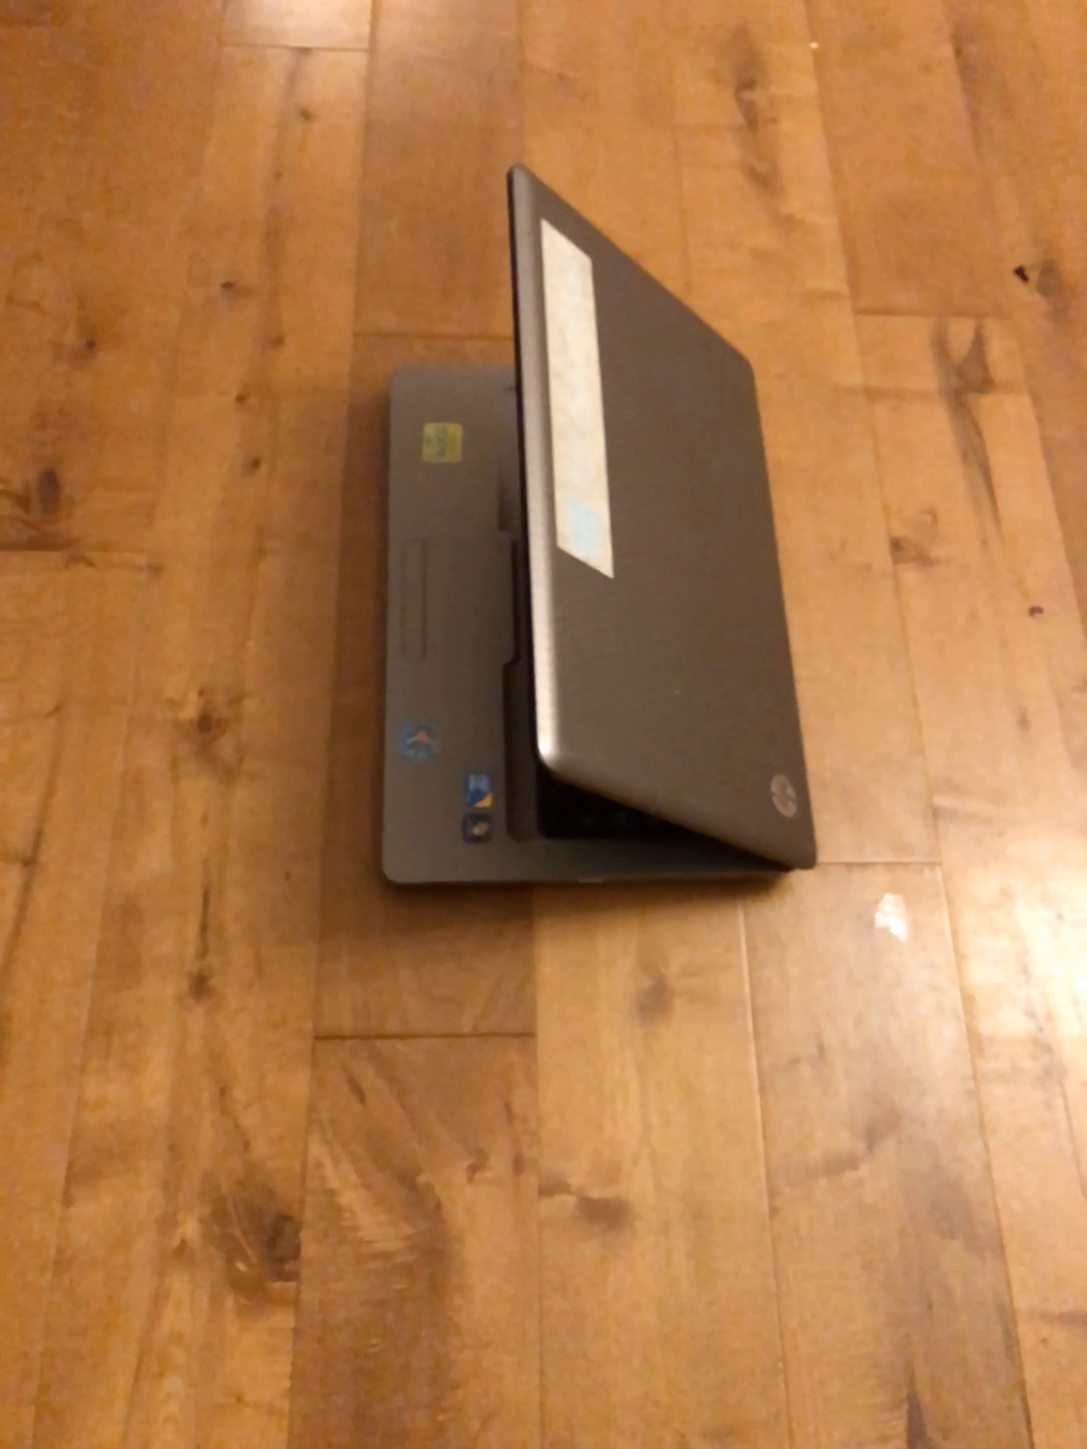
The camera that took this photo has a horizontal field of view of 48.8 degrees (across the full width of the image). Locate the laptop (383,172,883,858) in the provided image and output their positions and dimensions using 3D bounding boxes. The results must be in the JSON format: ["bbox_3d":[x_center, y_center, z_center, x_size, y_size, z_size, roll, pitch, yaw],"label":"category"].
[{"bbox_3d":[0.027,-0.117,0.677,0.222,0.164,0.347,-1,66,-3],"label":"laptop"}]
